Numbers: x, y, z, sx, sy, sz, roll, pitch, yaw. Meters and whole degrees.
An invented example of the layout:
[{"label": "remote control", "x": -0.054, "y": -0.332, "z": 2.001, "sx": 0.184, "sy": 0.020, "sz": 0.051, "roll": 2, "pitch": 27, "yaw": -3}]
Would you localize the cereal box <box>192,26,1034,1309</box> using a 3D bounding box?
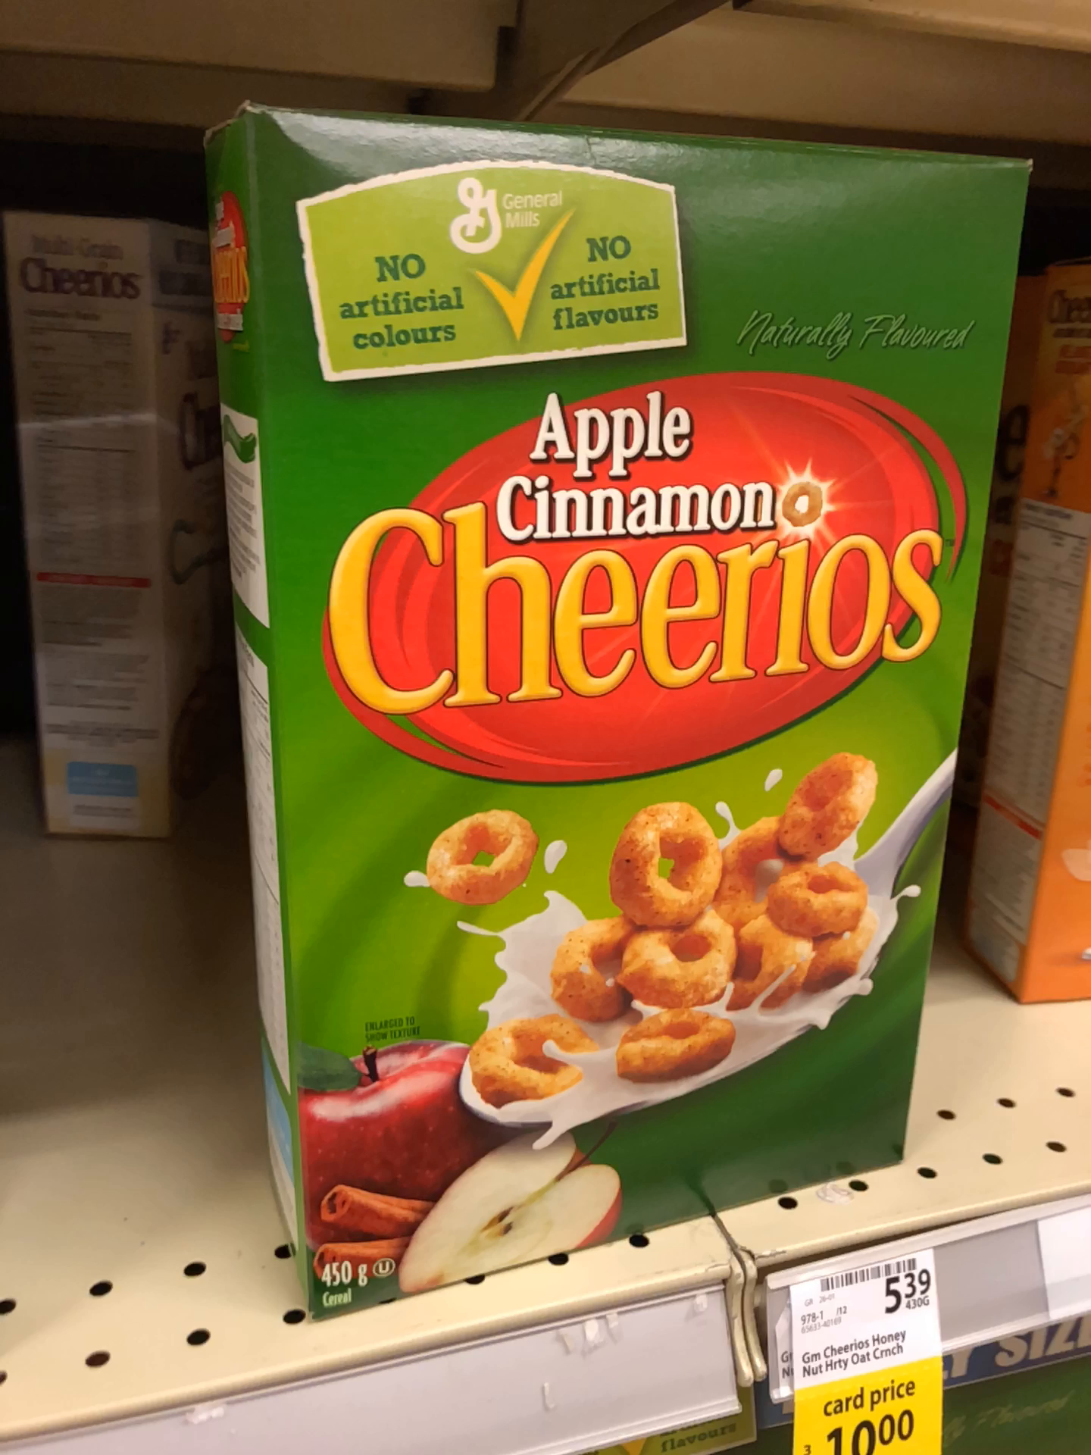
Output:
[{"label": "cereal box", "x": 0.016, "y": -0.010, "z": 0.347, "sx": 0.200, "sy": 0.309, "sz": 0.070, "roll": -6, "pitch": 18, "yaw": -21}]
